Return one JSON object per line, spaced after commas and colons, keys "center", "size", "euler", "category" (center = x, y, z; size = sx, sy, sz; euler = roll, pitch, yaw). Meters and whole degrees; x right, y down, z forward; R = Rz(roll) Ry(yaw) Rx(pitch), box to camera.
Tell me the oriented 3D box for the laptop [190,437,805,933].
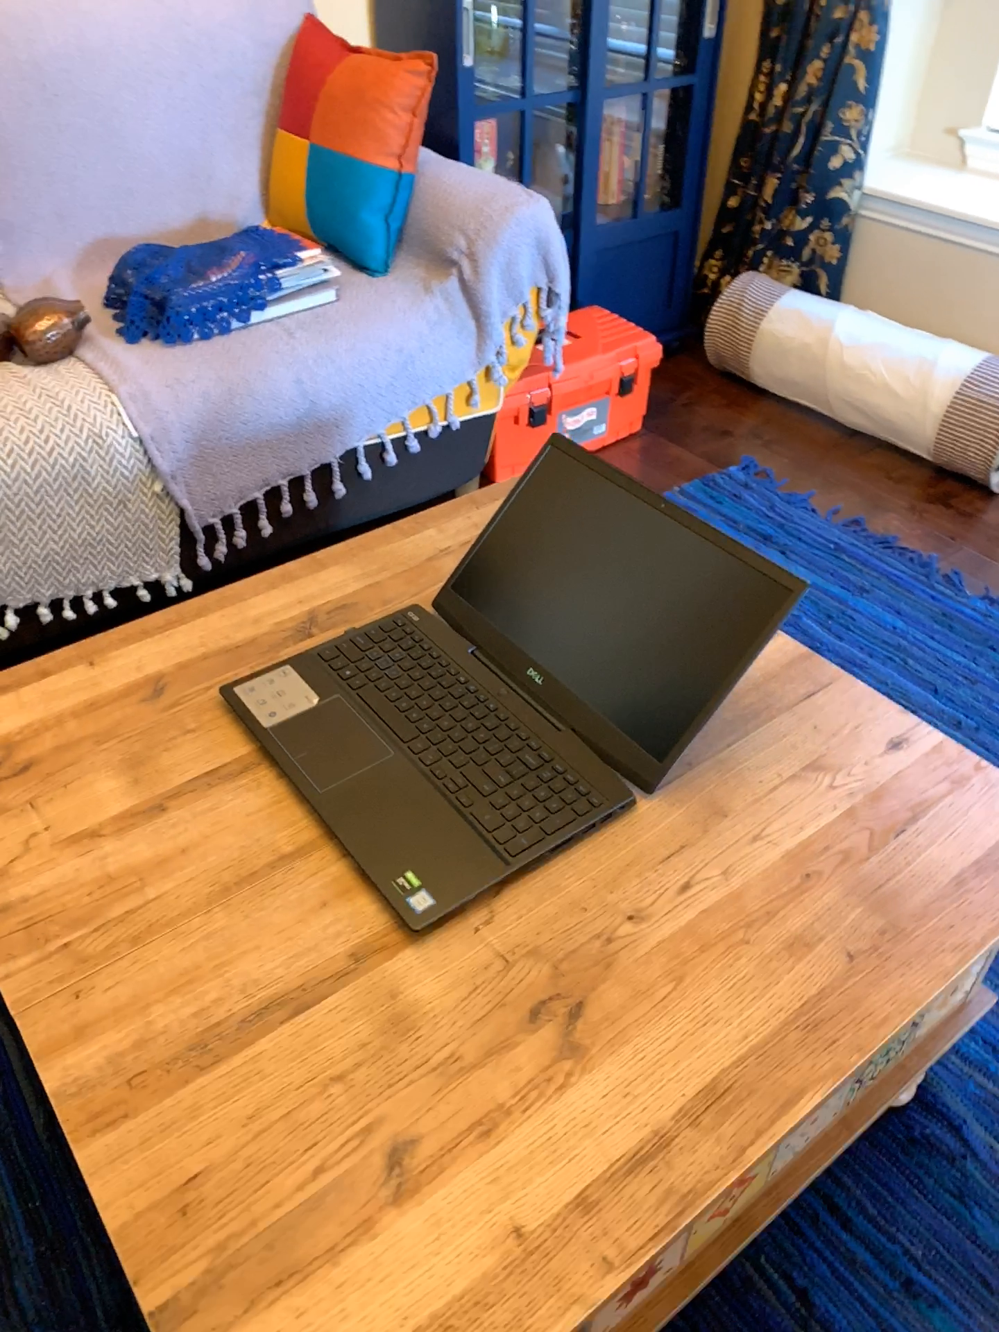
{"center": [-0.005, -0.020, 0.947], "size": [0.418, 0.156, 0.347], "euler": [-26, 46, -28], "category": "laptop"}
